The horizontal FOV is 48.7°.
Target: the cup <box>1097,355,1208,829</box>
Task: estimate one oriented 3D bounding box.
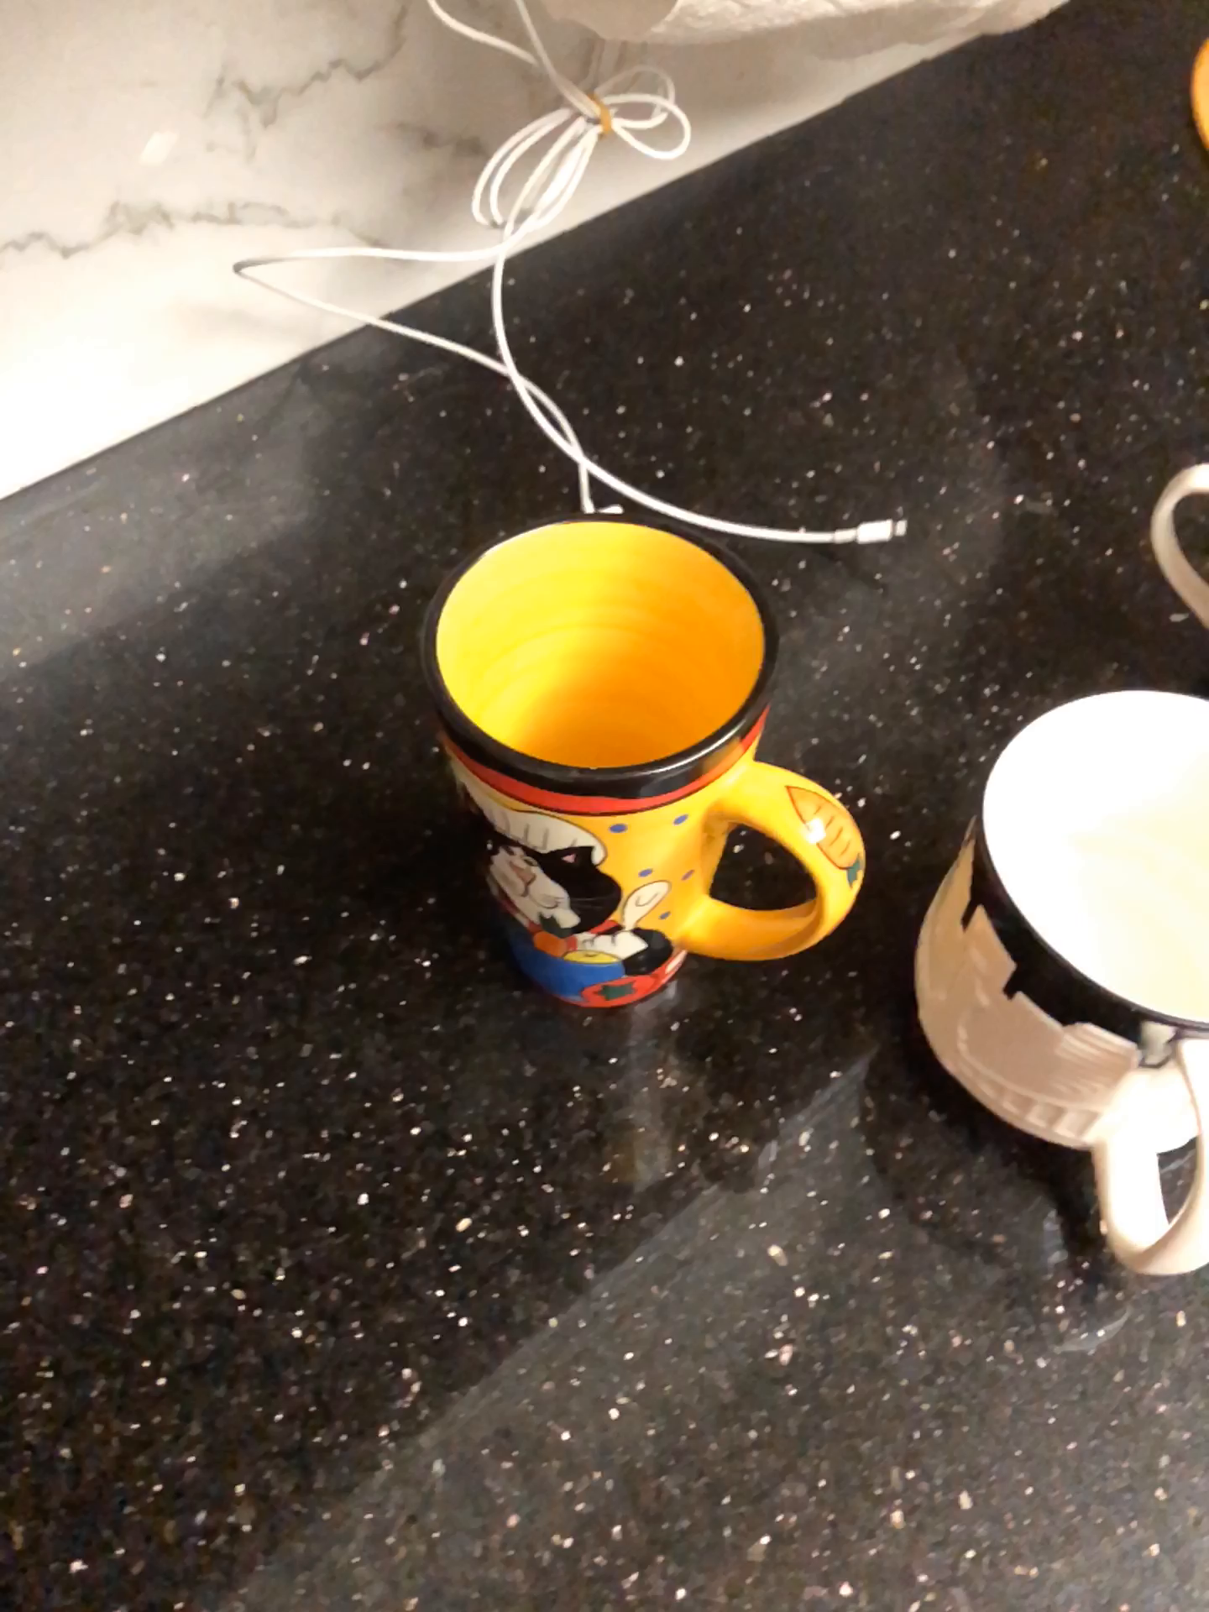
[{"bbox_3d":[0.246,-0.075,0.476,0.090,0.109,0.100,17,57,12],"label":"cup"}]

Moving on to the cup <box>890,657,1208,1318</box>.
[{"bbox_3d":[0.145,0.053,0.391,0.100,0.109,0.151,4,55,3],"label":"cup"}]

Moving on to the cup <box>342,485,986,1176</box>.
[{"bbox_3d":[0.016,0.012,0.386,0.130,0.149,0.090,23,58,15],"label":"cup"}]
